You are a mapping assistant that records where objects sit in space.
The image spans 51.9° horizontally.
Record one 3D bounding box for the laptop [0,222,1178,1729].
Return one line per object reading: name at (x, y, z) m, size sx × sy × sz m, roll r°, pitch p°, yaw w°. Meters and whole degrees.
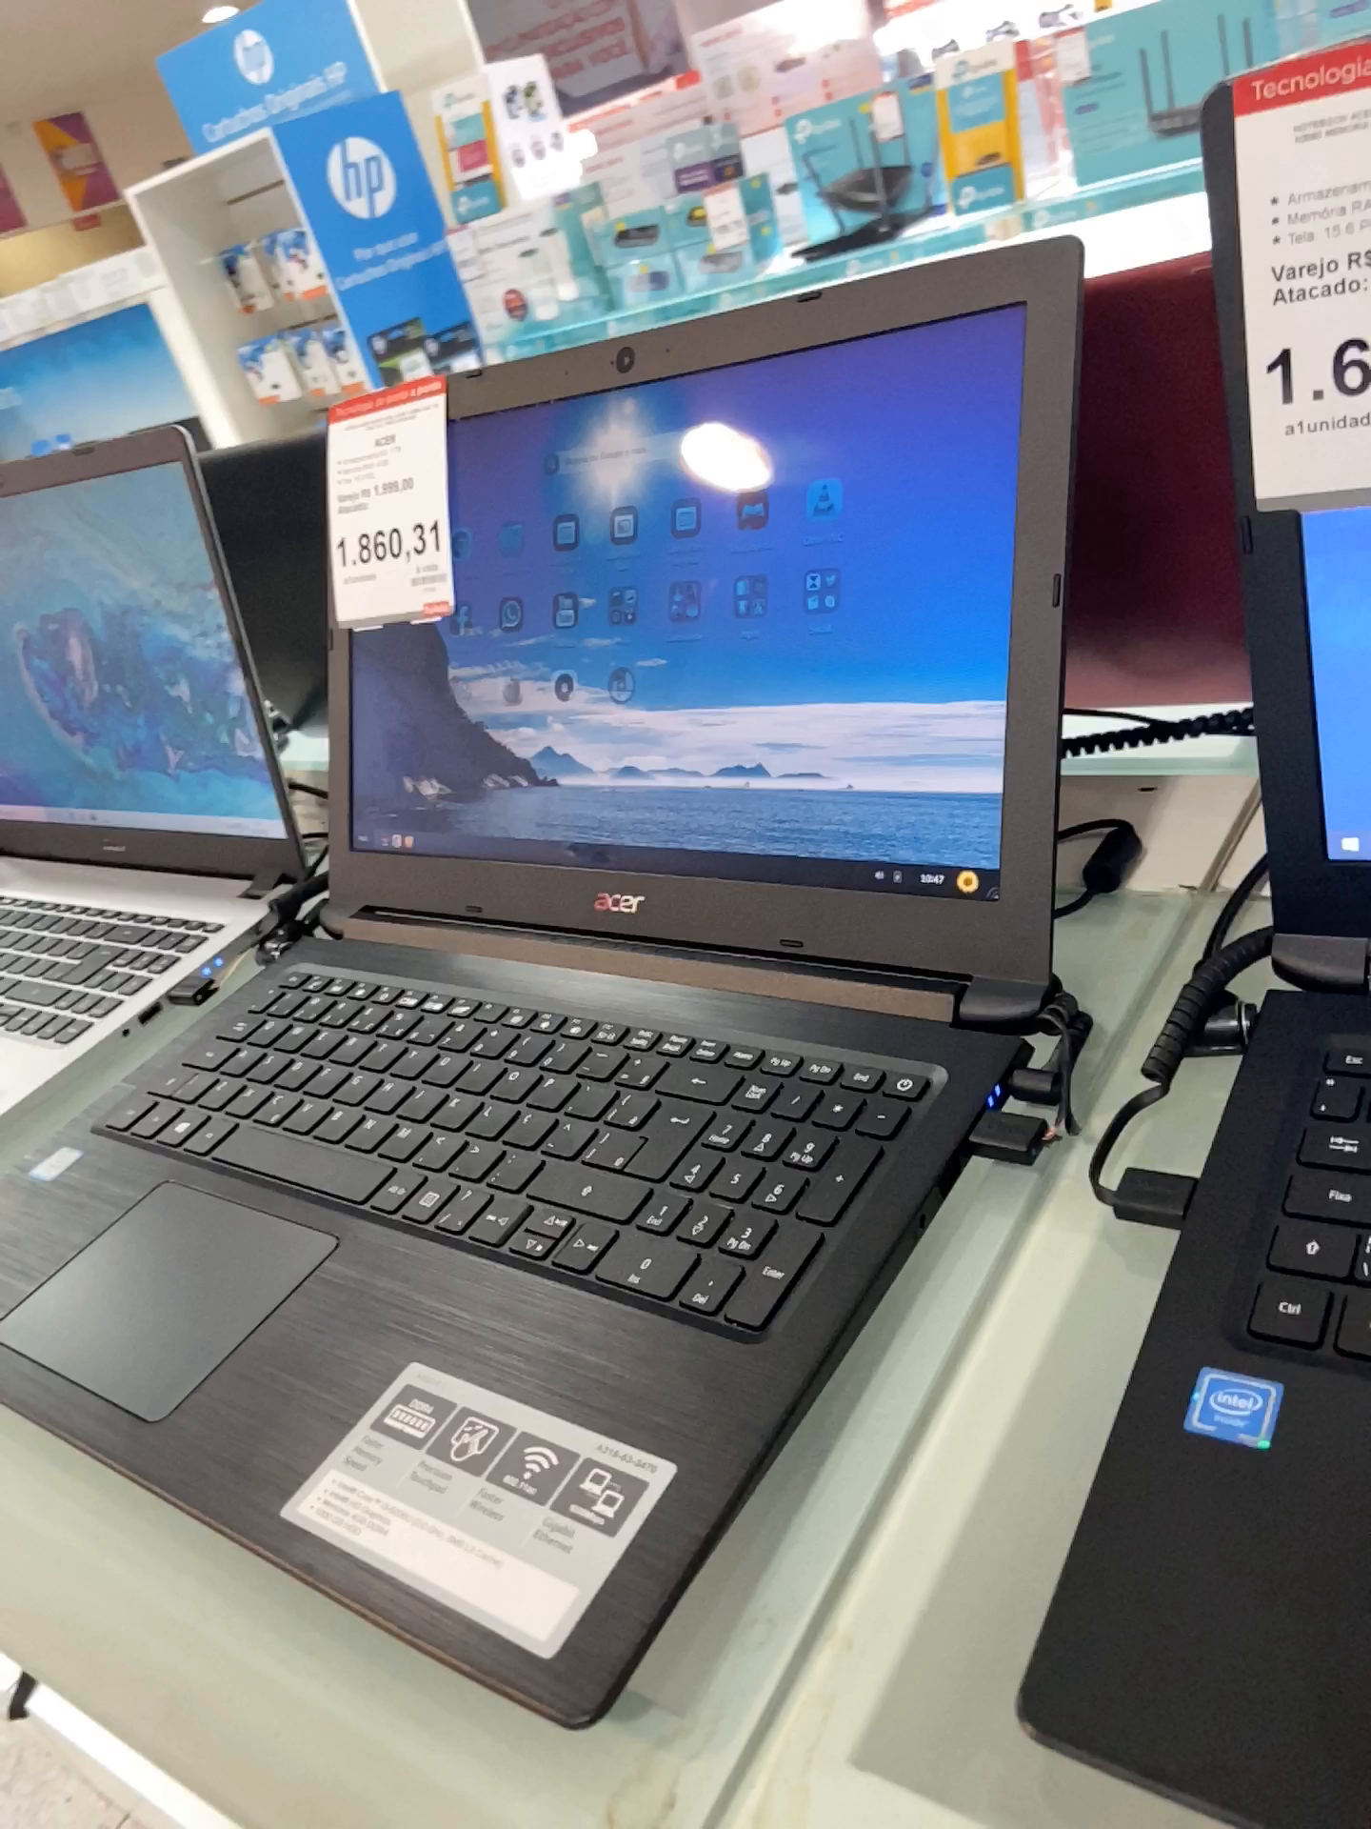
laptop at (-0.096, -0.034, 0.489) m, size 0.380 × 0.215 × 0.380 m, roll 5°, pitch 36°, yaw 39°
